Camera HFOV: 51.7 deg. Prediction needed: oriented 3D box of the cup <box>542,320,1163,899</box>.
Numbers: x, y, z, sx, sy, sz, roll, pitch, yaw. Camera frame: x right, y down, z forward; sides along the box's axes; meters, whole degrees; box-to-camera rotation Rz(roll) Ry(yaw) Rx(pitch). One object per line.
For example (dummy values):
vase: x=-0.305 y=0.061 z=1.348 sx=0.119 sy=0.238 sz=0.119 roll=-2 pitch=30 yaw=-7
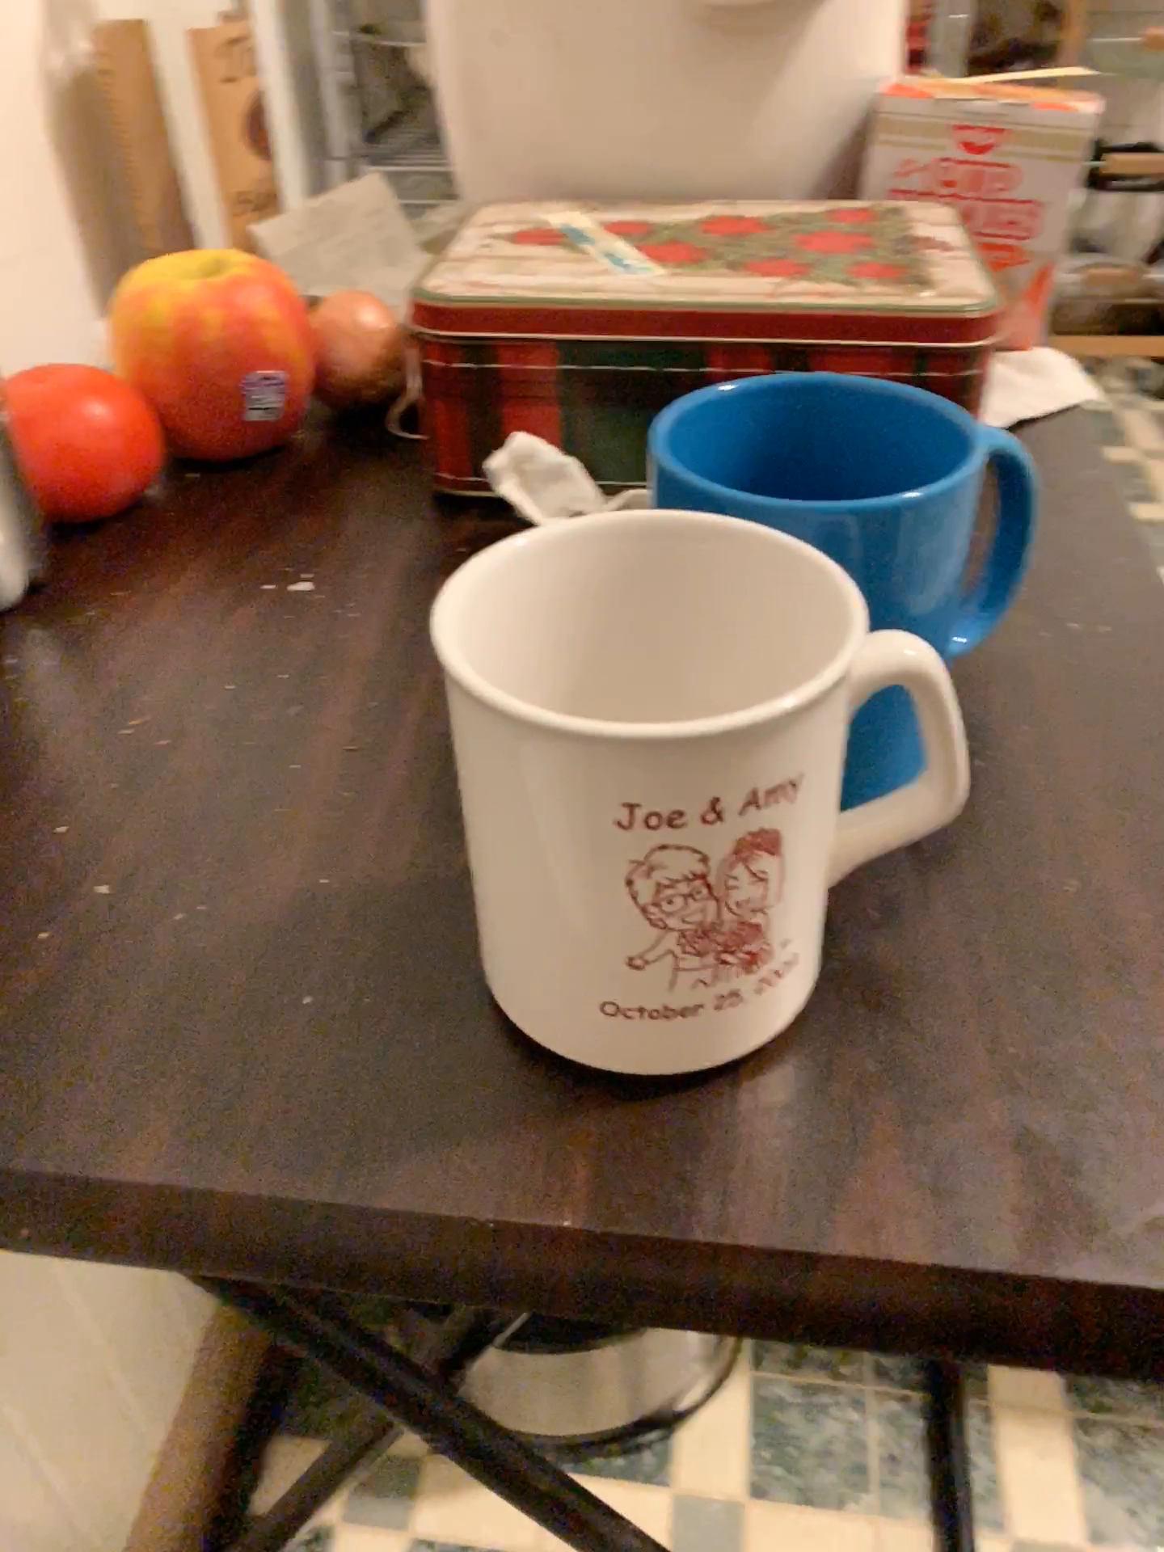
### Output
cup: x=0.073 y=-0.052 z=0.334 sx=0.140 sy=0.099 sz=0.091 roll=-17 pitch=40 yaw=-18

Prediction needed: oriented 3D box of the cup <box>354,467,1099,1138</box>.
cup: x=0.020 y=0.002 z=0.254 sx=0.120 sy=0.089 sz=0.091 roll=-8 pitch=38 yaw=-7
